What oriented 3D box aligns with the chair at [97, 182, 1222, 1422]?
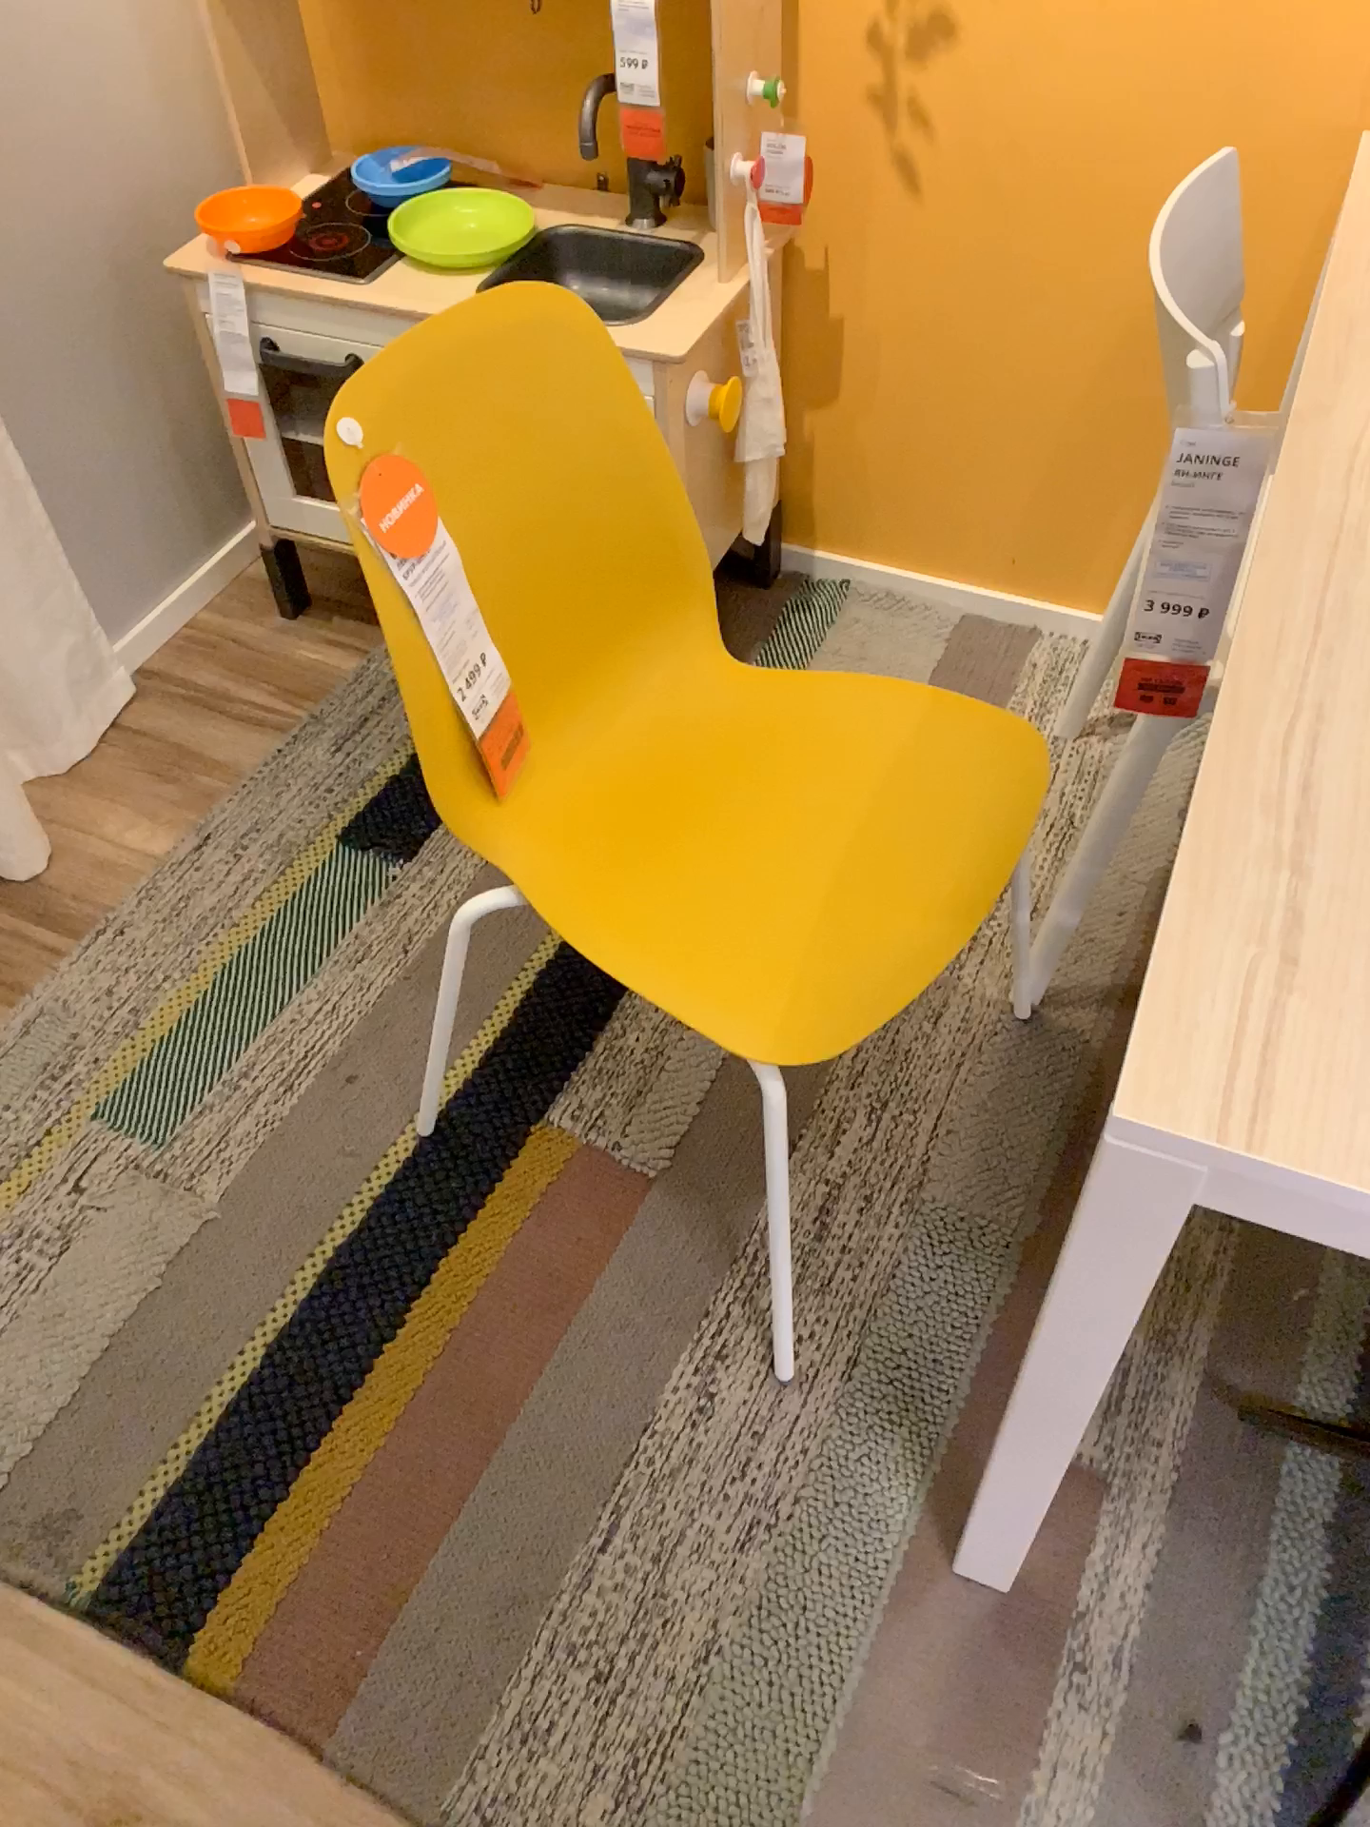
[{"bbox_3d":[0.019,-0.077,1.252,0.555,0.809,0.559,23,54,21],"label":"chair"}]
